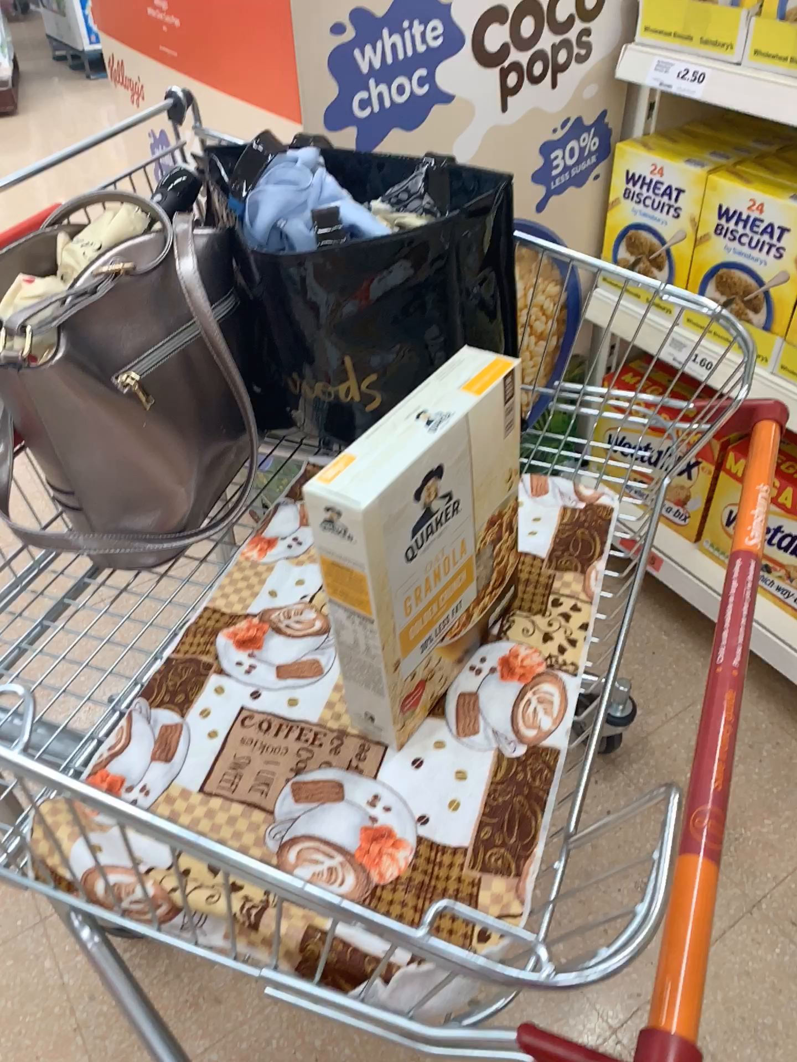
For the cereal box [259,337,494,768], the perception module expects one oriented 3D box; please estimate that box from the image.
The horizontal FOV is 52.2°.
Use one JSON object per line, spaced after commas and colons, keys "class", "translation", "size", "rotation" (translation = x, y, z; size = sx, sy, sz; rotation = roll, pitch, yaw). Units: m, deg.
{"class": "cereal box", "translation": [0.002, 0.019, 0.617], "size": [0.050, 0.257, 0.202], "rotation": [20, 46, 27]}
